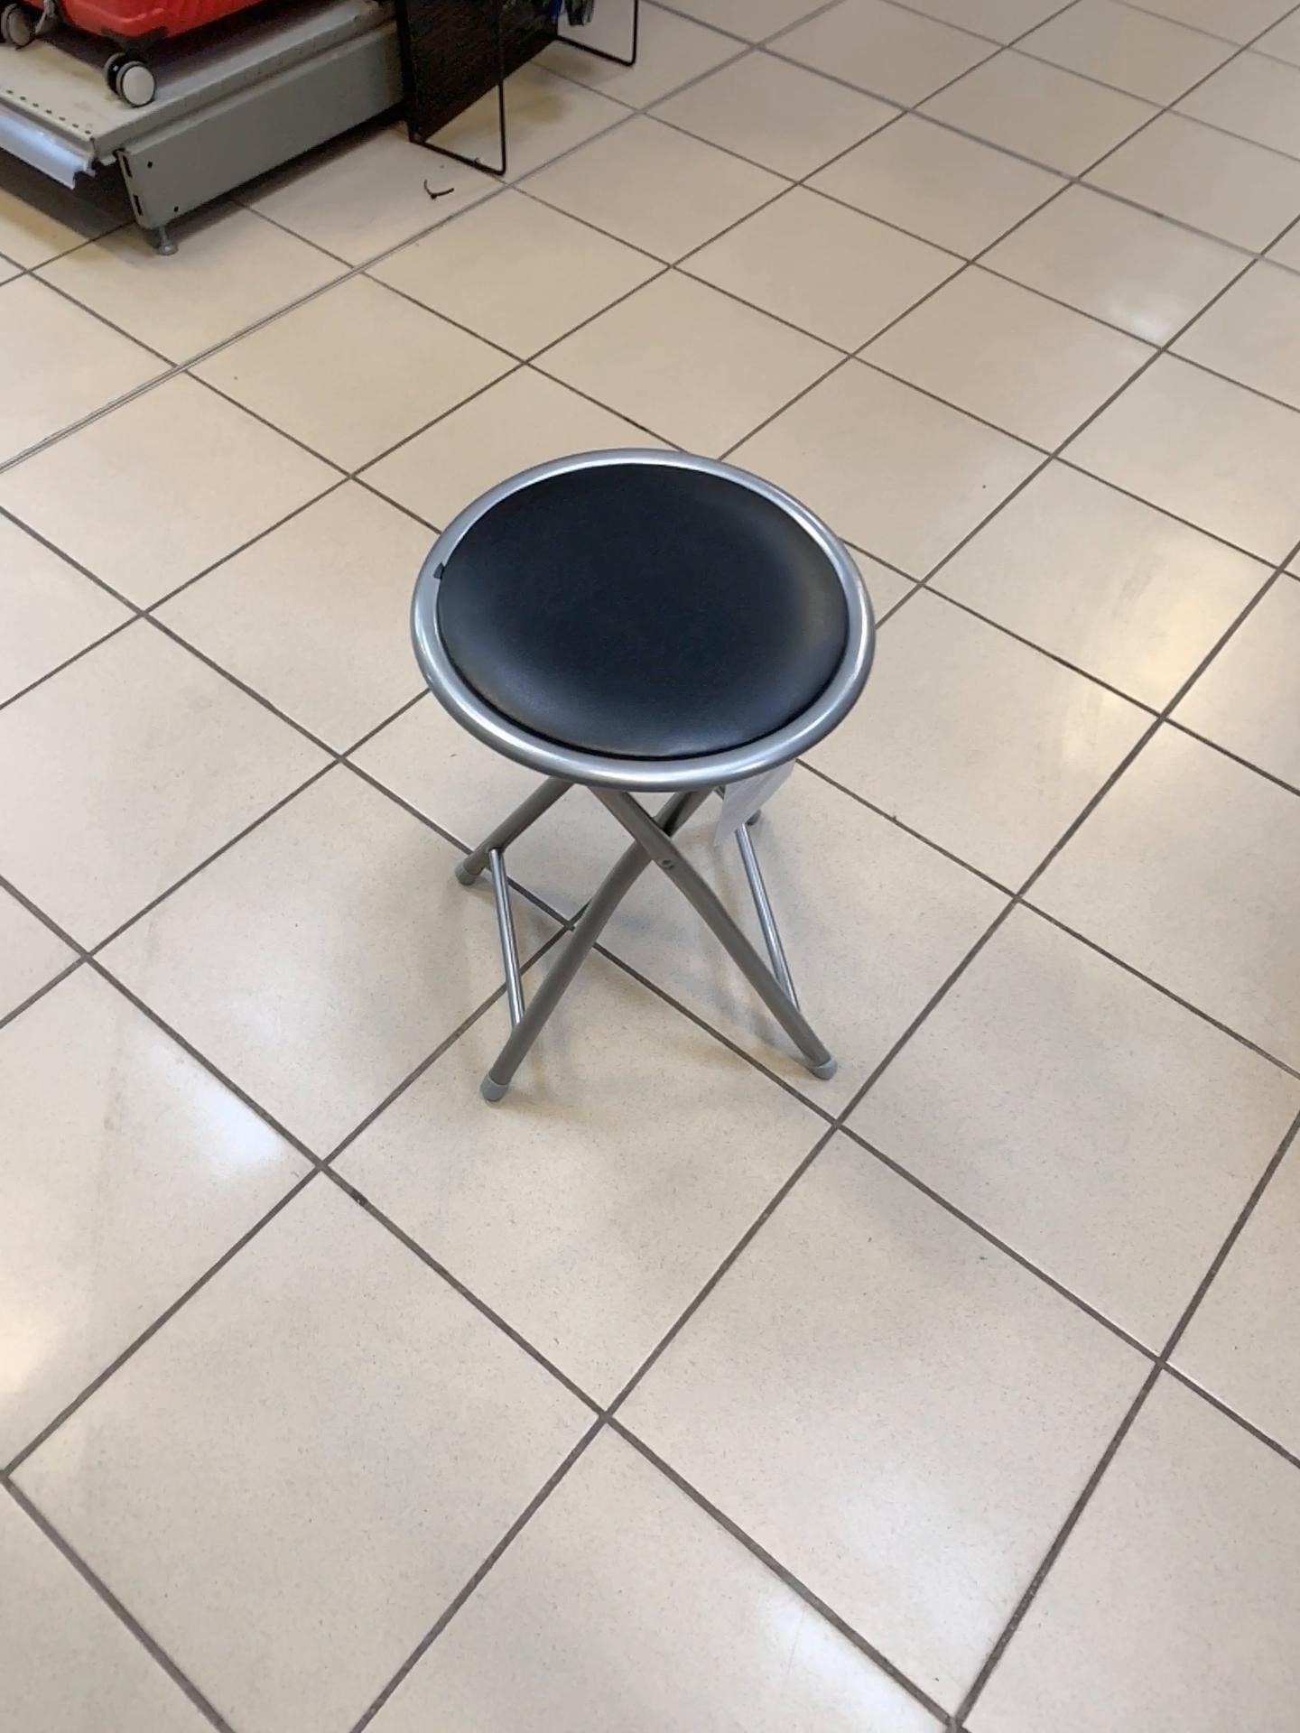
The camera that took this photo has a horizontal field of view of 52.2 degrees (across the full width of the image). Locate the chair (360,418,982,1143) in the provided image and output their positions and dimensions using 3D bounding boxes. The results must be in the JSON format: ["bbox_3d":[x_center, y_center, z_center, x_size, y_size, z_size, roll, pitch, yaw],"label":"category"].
[{"bbox_3d":[-0.010,-0.051,0.997,0.334,0.402,0.329,-8,56,-8],"label":"chair"}]
